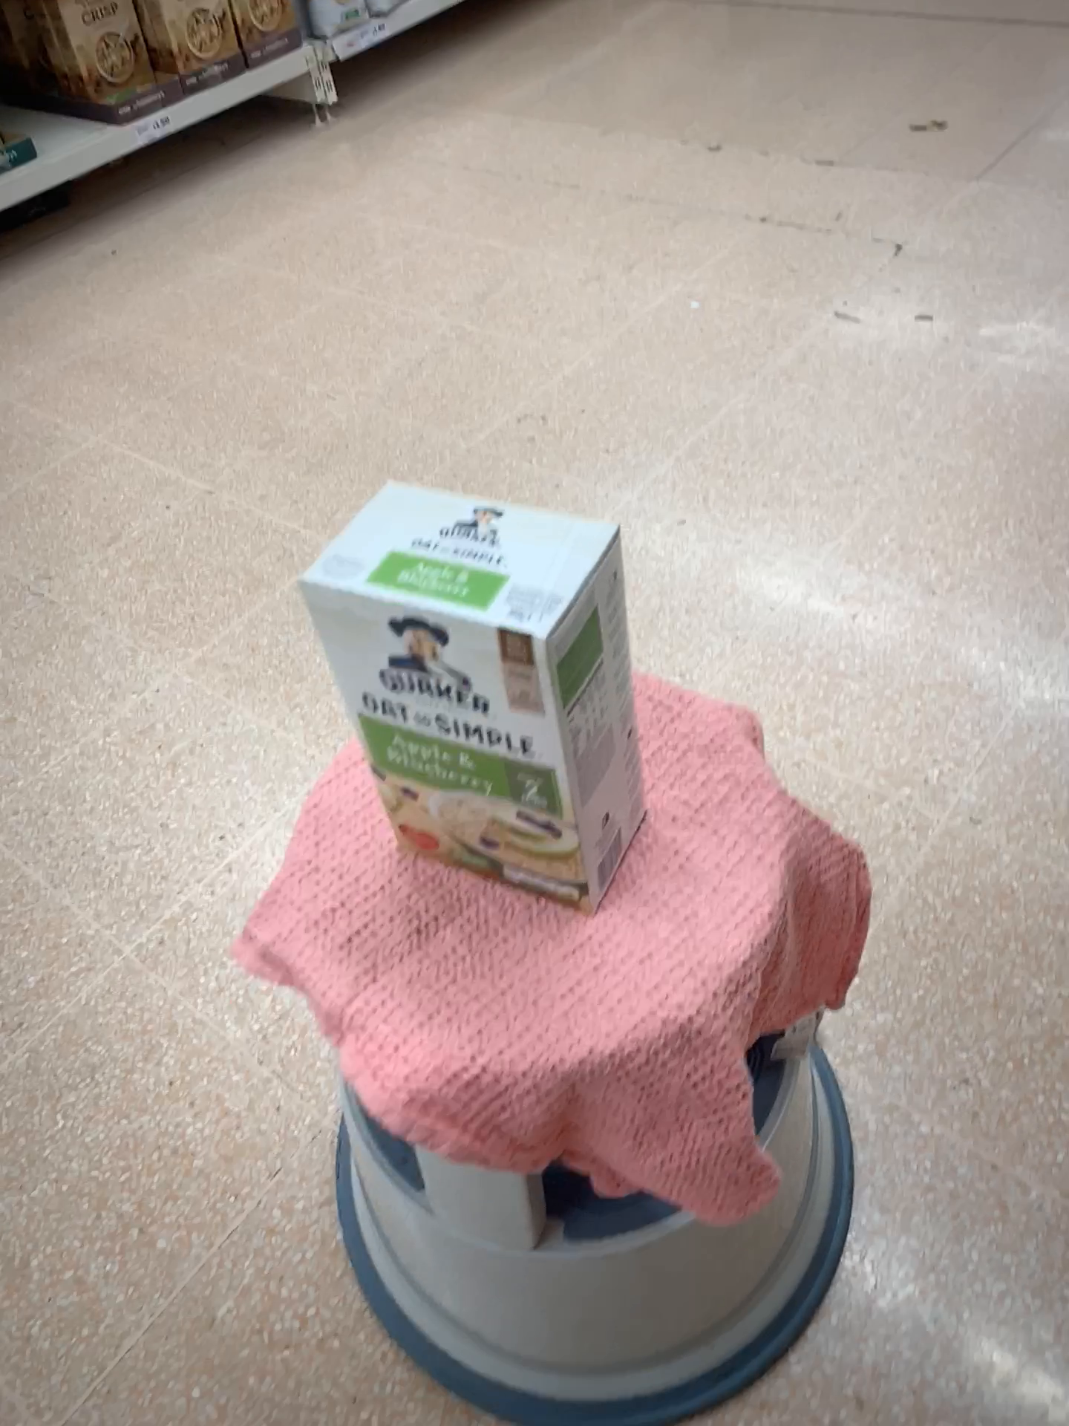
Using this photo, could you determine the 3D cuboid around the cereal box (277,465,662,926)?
[{"bbox_3d":[-0.021,-0.005,0.566,0.140,0.208,0.091,15,51,23],"label":"cereal box"}]
